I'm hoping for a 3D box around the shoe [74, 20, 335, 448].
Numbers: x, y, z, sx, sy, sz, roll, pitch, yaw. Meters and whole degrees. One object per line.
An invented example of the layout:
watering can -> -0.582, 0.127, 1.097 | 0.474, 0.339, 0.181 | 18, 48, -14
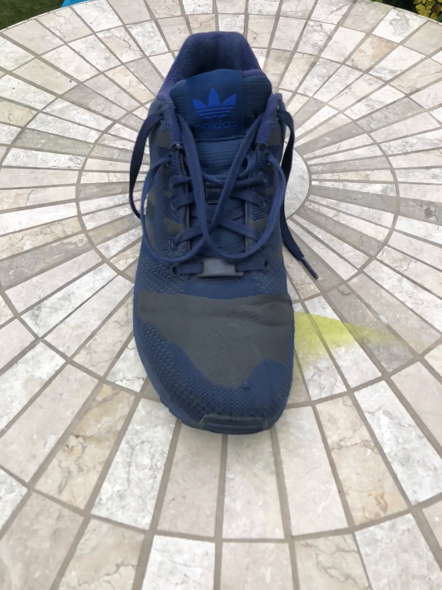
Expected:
shoe -> -0.007, -0.055, 0.327 | 0.110, 0.109, 0.281 | 0, 57, 0
